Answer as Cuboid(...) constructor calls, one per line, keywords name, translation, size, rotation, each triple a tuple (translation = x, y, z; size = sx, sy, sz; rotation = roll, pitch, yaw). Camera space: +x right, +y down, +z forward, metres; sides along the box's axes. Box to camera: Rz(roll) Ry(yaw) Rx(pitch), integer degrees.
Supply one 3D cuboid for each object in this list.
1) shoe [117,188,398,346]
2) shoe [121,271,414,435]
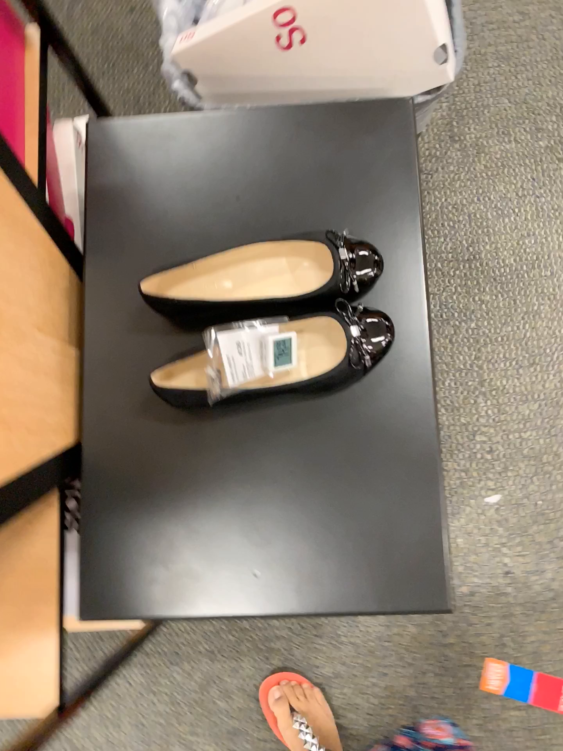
Cuboid(name="shoe", translation=(-0.022, -0.103, 0.580), size=(0.250, 0.100, 0.090), rotation=(-9, 81, 2))
Cuboid(name="shoe", translation=(-0.012, -0.016, 0.564), size=(0.250, 0.100, 0.090), rotation=(-13, 80, 2))
